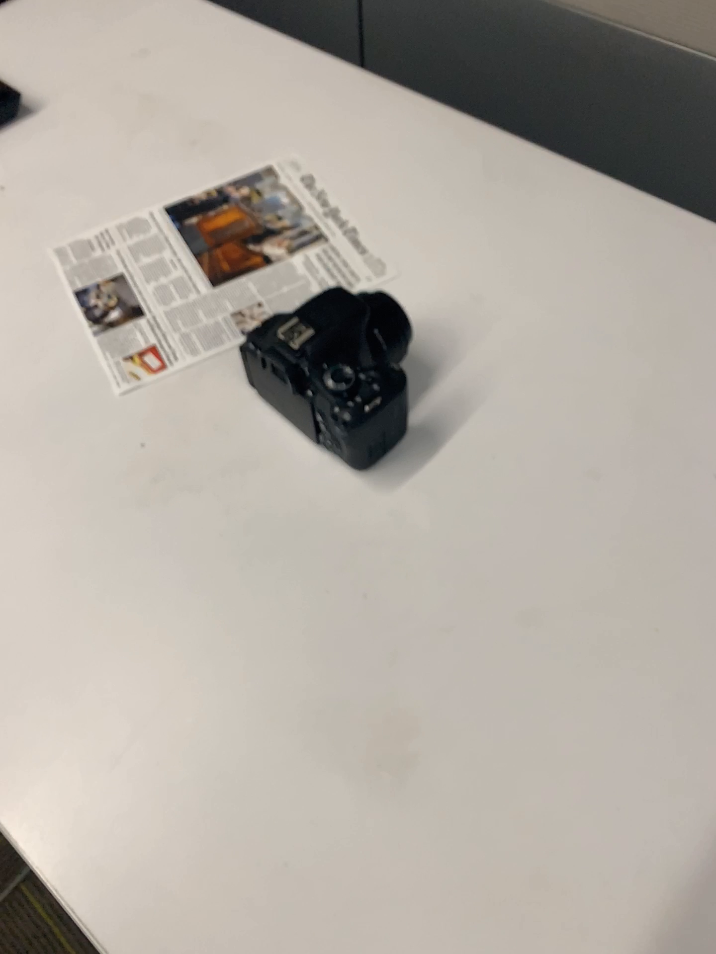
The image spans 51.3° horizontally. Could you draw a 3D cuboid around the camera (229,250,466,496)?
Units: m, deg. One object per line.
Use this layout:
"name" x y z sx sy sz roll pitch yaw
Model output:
"camera" -0.007 -0.083 0.584 0.109 0.090 0.138 -40 64 -19
